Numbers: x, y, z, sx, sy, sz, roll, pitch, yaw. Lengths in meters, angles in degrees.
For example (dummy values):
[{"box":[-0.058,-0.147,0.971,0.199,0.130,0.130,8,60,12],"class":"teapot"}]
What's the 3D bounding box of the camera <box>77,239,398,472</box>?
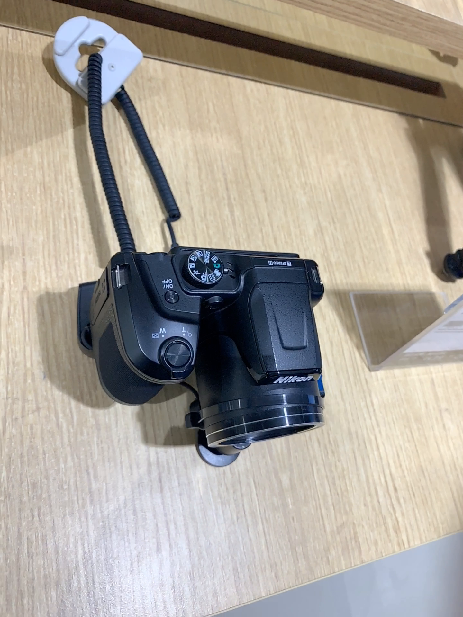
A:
[{"box":[-0.002,0.022,0.226,0.120,0.070,0.080,-2,70,-27],"class":"camera"}]
